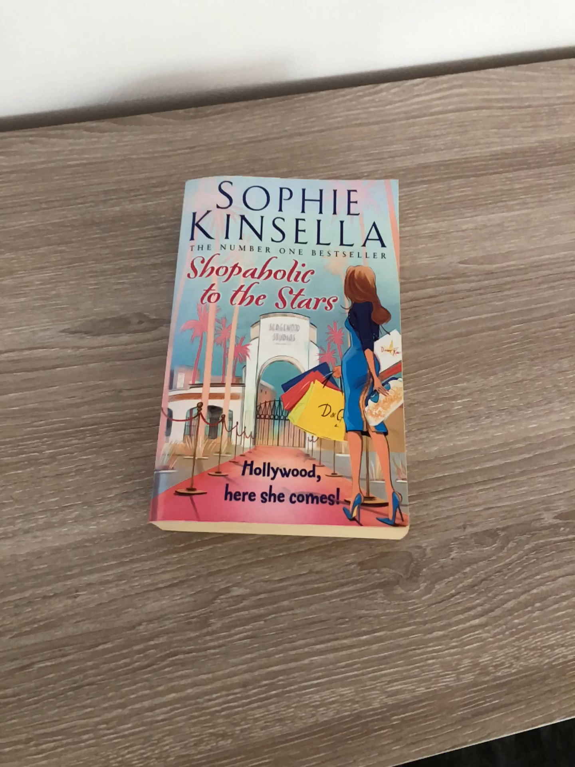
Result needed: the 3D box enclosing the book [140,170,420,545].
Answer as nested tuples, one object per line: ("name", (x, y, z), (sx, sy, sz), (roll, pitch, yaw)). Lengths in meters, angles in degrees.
("book", (-0.001, -0.018, 0.347), (0.130, 0.040, 0.200), (3, 69, -2))
